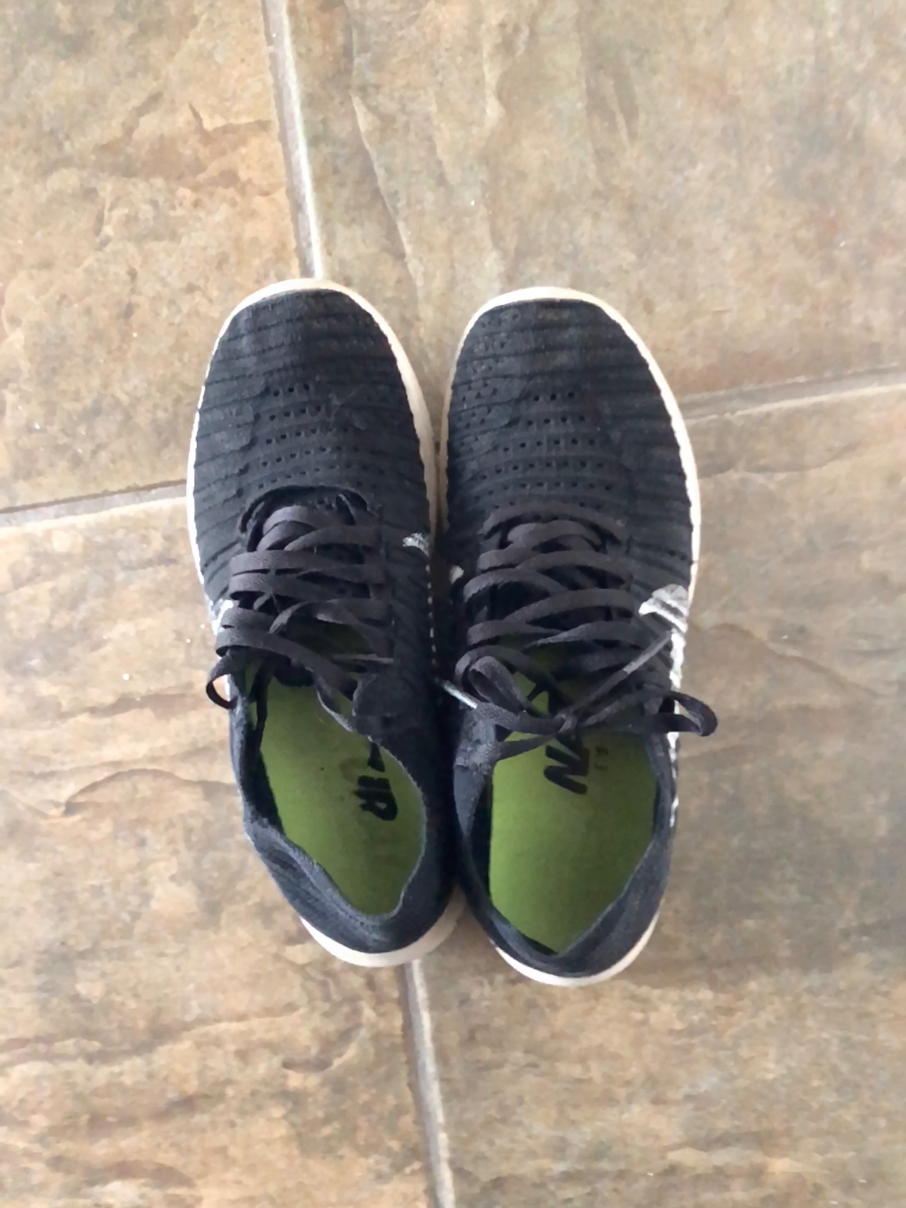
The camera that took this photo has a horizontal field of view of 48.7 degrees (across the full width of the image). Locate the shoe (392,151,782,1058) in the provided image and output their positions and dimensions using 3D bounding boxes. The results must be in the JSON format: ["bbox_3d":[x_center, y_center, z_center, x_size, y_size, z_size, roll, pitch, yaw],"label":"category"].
[{"bbox_3d":[0.040,0.001,0.336,0.100,0.090,0.260,-3,86,4],"label":"shoe"}]

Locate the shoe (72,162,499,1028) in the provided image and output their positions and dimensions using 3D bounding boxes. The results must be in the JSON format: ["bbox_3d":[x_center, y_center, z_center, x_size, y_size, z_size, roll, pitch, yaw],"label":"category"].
[{"bbox_3d":[-0.053,-0.003,0.358,0.100,0.090,0.260,-8,86,4],"label":"shoe"}]
